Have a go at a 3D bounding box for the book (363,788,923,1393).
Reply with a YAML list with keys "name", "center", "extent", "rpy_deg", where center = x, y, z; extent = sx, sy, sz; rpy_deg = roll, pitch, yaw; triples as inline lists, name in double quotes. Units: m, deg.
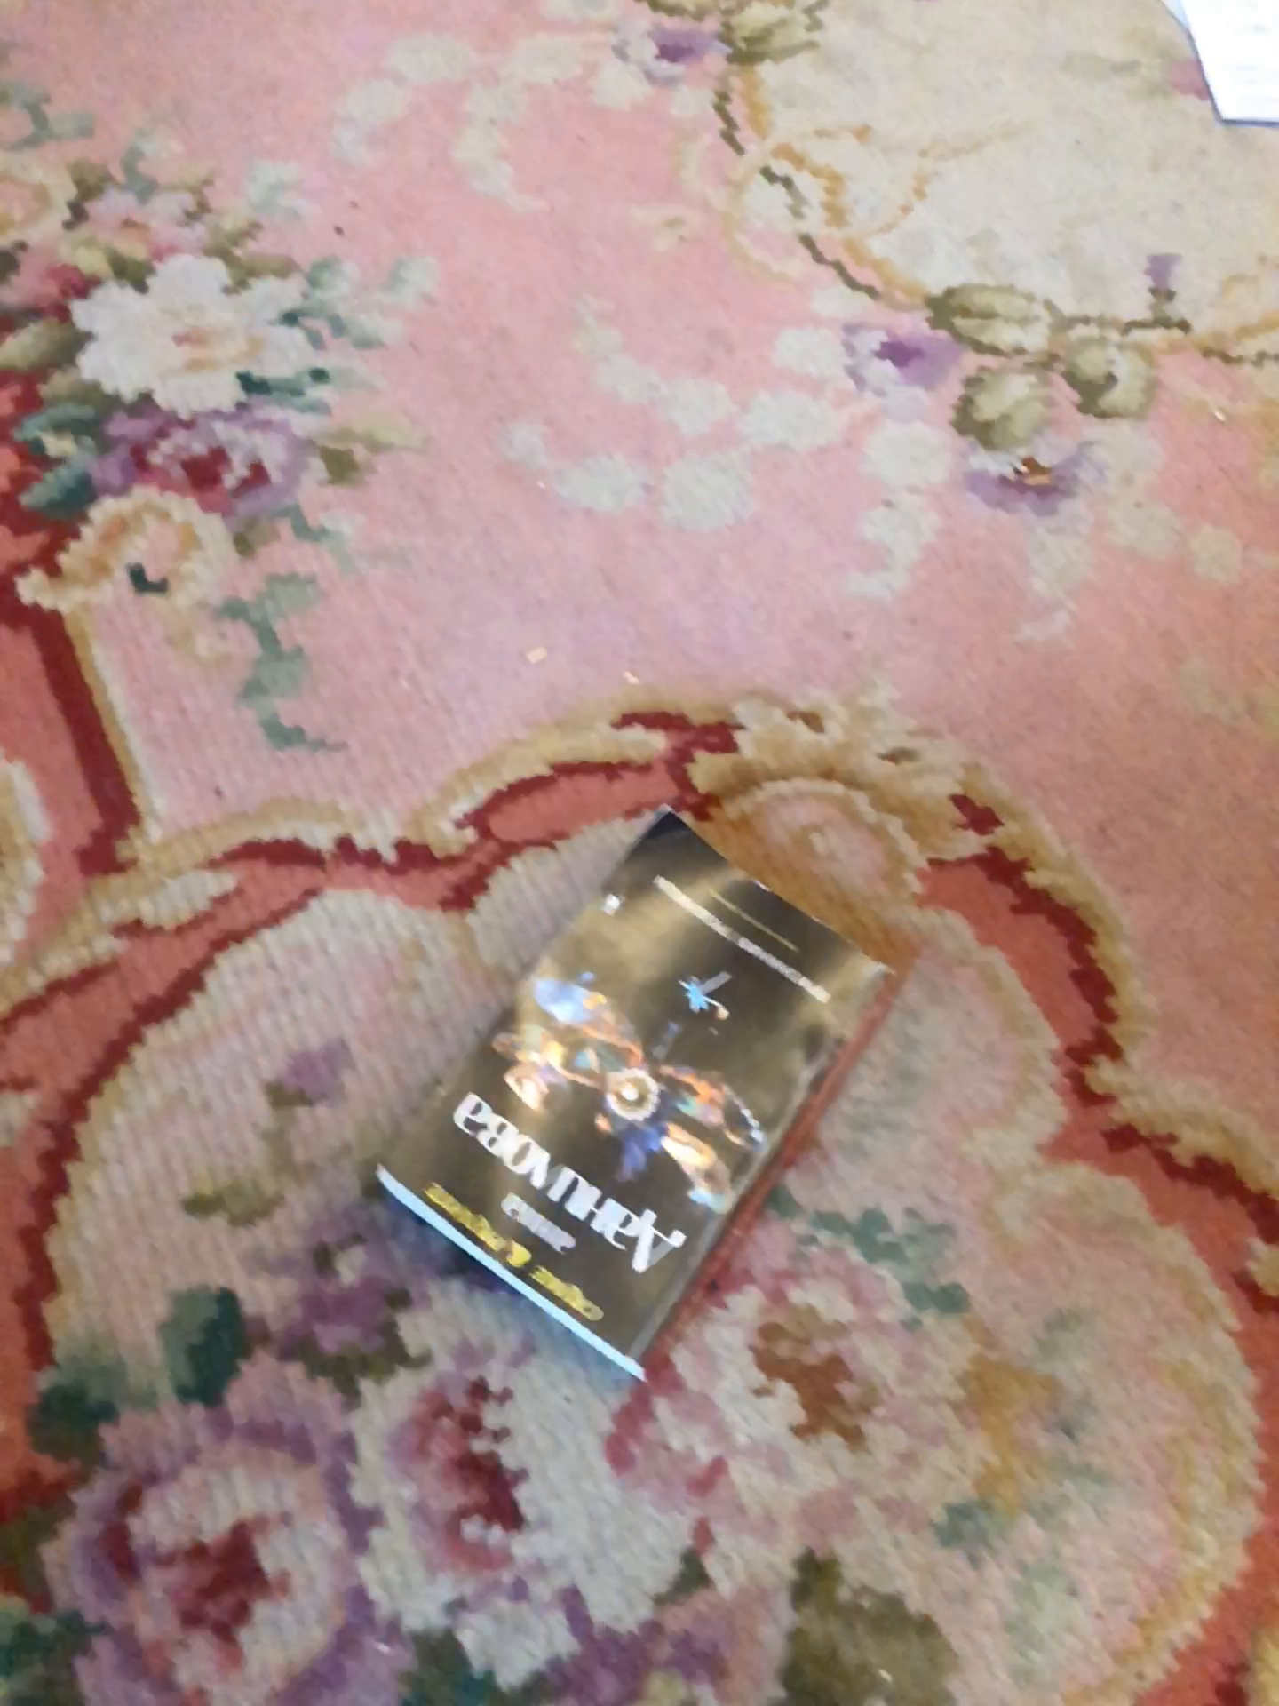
- name: "book"
  center: [0.004, 0.077, 0.482]
  extent: [0.110, 0.050, 0.165]
  rpy_deg: [32, 66, 12]
